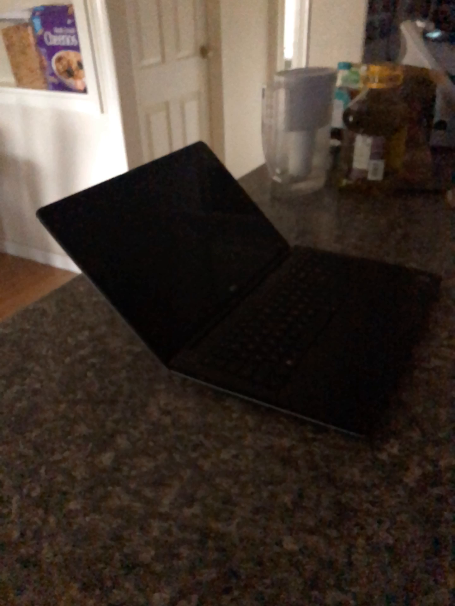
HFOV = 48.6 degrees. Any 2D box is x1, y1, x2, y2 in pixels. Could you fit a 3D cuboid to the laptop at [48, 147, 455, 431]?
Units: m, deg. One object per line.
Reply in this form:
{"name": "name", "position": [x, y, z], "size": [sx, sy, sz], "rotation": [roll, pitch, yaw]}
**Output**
{"name": "laptop", "position": [0.053, -0.071, 0.689], "size": [0.414, 0.158, 0.363], "rotation": [15, 35, 26]}
